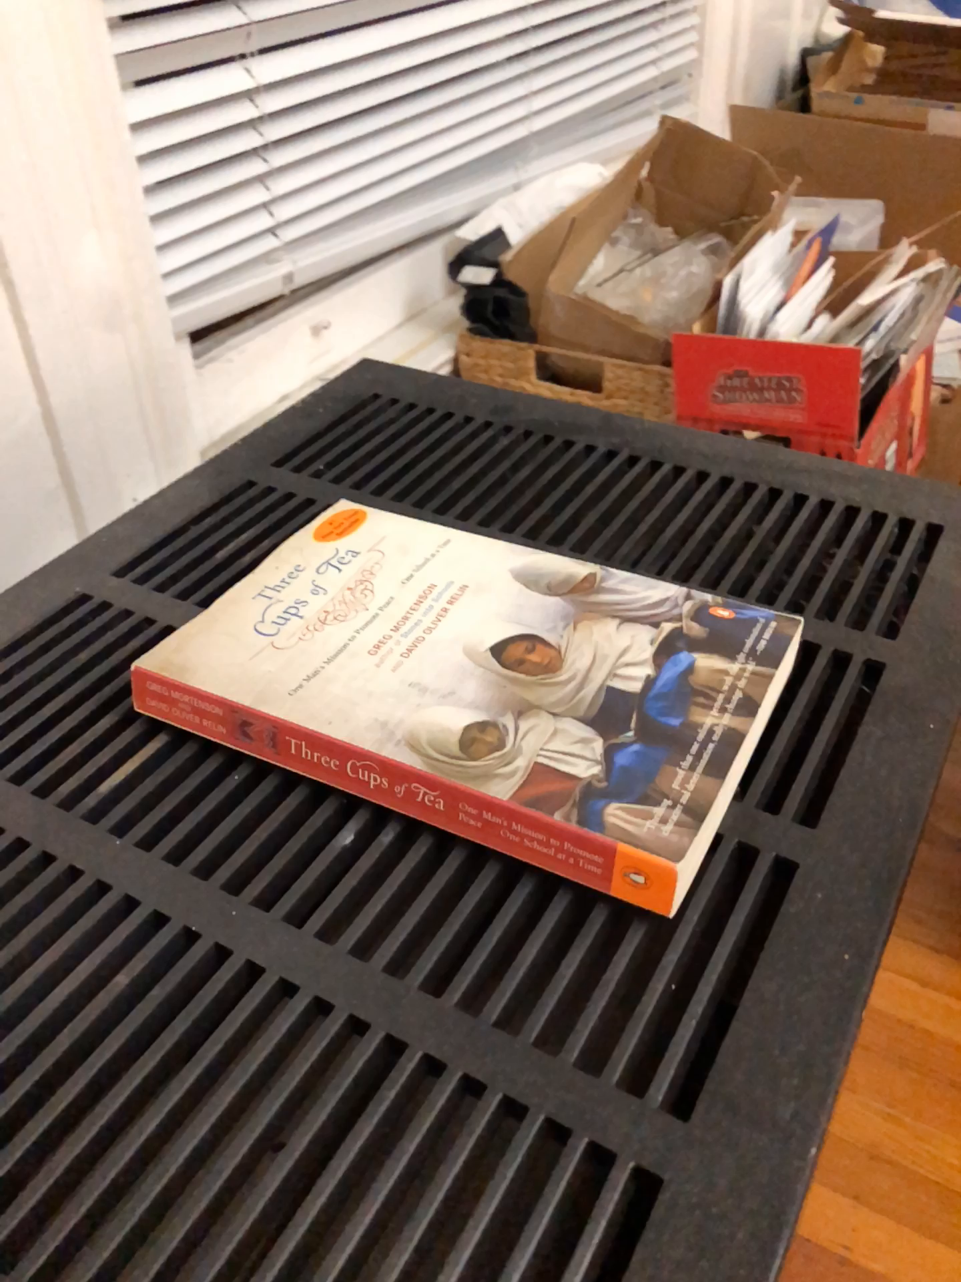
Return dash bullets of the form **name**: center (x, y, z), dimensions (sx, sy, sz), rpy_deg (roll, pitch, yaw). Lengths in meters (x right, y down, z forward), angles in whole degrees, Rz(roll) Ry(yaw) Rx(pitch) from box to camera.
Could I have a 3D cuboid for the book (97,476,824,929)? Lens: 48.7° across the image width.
- **book**: center (-0.004, 0.005, 0.388), dimensions (0.220, 0.030, 0.141), rpy_deg (15, 41, 22)
